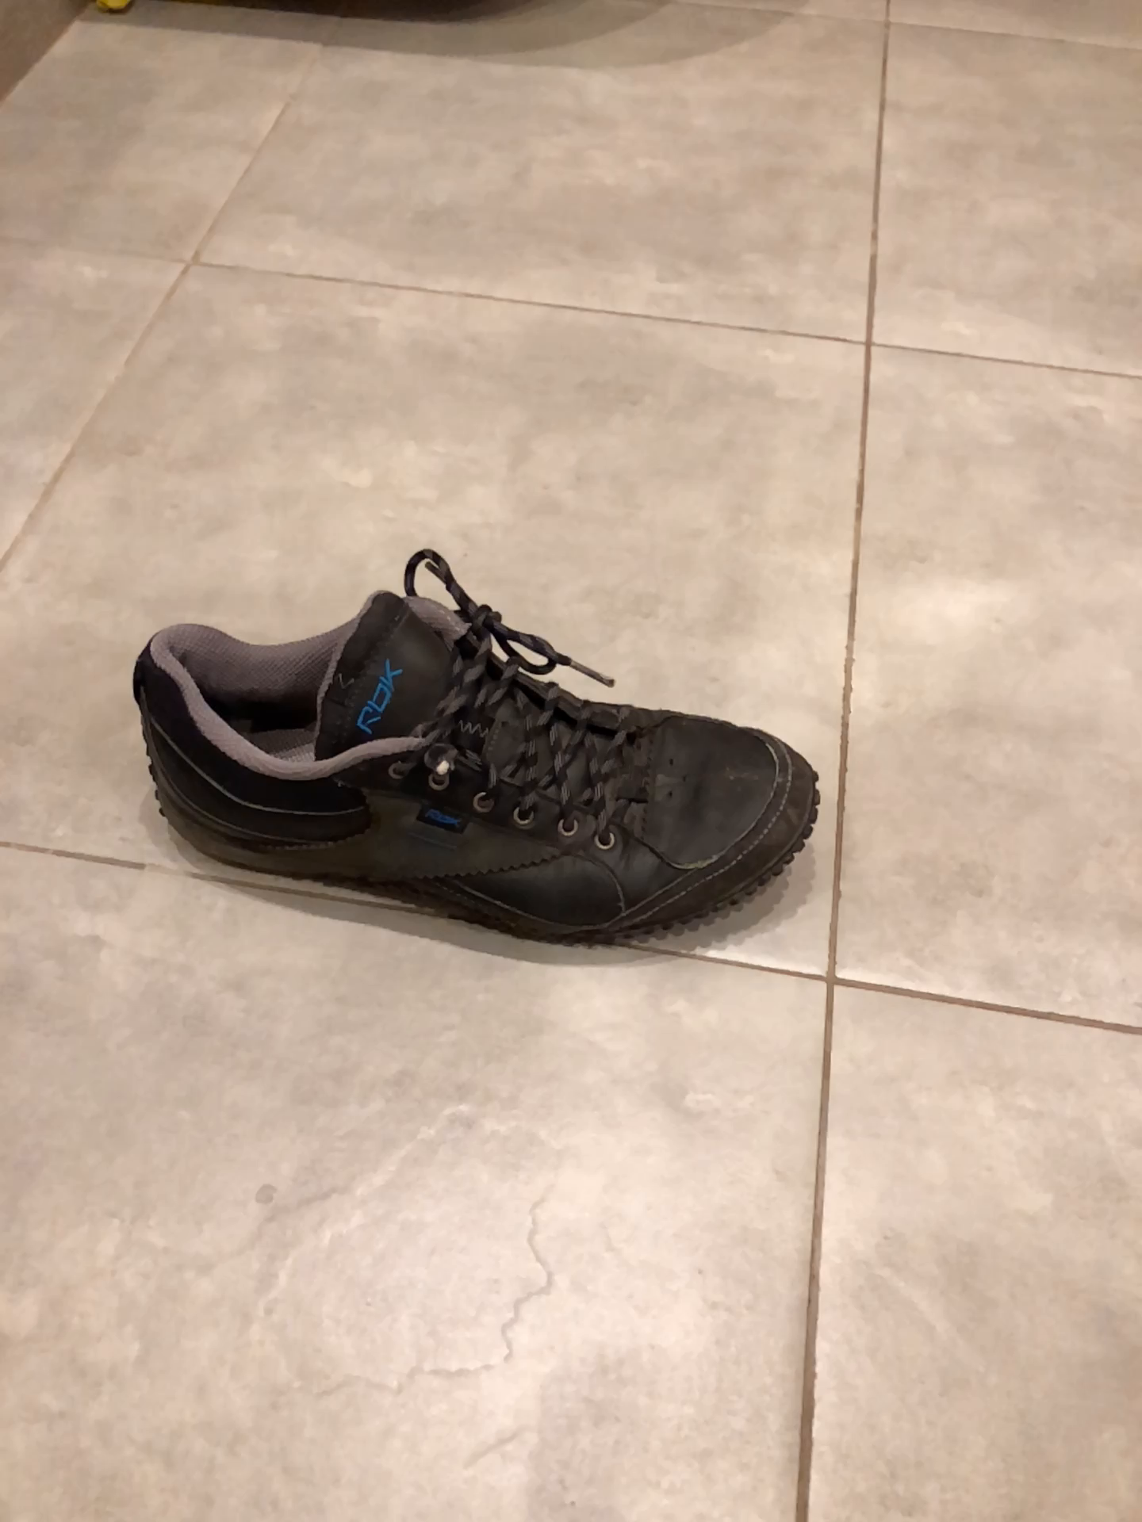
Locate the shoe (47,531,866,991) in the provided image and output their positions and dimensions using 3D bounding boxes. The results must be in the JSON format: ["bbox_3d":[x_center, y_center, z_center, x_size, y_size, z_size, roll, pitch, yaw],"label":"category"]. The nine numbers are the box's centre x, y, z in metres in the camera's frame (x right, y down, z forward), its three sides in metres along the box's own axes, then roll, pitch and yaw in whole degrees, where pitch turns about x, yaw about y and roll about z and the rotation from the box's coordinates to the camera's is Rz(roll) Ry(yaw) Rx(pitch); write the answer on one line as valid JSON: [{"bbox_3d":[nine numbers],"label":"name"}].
[{"bbox_3d":[-0.034,0.001,0.481,0.270,0.109,0.101,7,54,4],"label":"shoe"}]
